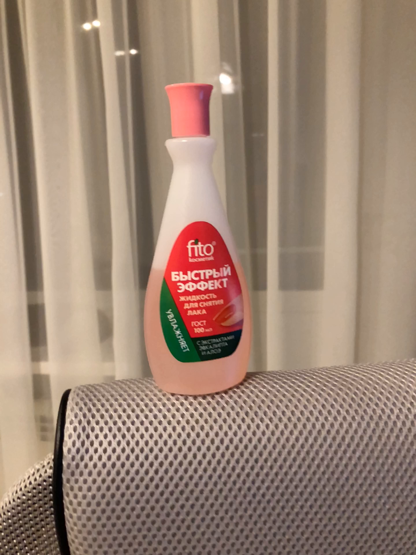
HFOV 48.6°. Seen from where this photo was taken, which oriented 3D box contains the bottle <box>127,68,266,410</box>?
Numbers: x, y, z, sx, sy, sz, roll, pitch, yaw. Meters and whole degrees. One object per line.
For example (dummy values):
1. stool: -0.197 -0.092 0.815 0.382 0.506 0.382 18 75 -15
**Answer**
1. bottle: -0.005 -0.019 0.237 0.056 0.158 0.039 -6 12 -14
